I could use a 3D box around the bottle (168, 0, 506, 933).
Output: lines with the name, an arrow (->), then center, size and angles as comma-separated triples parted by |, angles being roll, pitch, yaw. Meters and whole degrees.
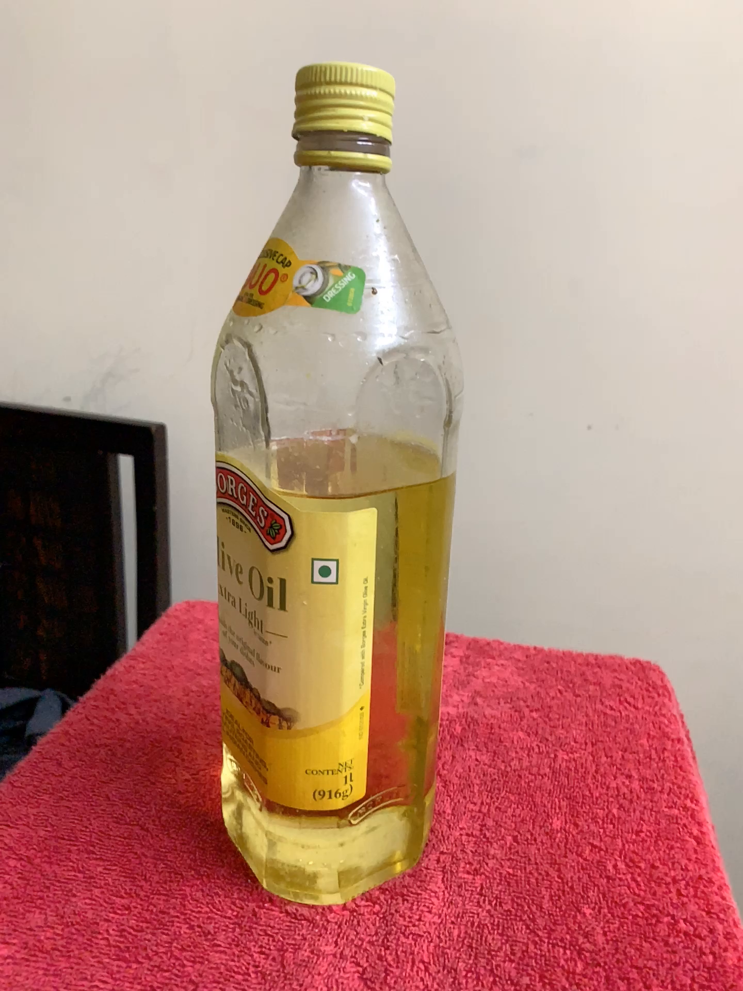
bottle -> -0.019, -0.001, 0.264 | 0.070, 0.268, 0.080 | -7, 19, -29
